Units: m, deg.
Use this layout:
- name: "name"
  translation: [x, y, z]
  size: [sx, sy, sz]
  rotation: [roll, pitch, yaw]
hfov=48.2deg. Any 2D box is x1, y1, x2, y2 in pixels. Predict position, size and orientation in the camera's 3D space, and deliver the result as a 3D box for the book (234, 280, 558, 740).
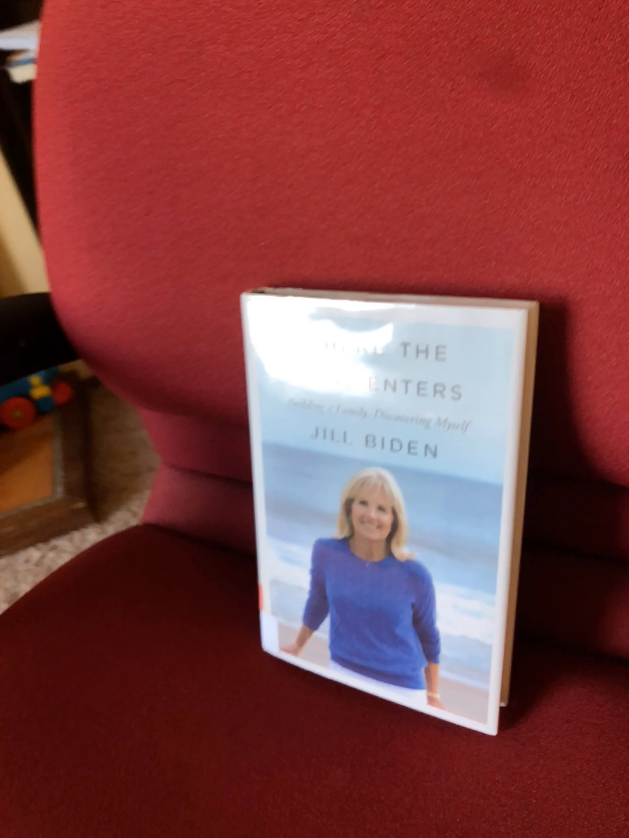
- name: "book"
  translation: [0.033, 0.041, 0.358]
  size: [0.150, 0.210, 0.030]
  rotation: [10, 21, 29]
